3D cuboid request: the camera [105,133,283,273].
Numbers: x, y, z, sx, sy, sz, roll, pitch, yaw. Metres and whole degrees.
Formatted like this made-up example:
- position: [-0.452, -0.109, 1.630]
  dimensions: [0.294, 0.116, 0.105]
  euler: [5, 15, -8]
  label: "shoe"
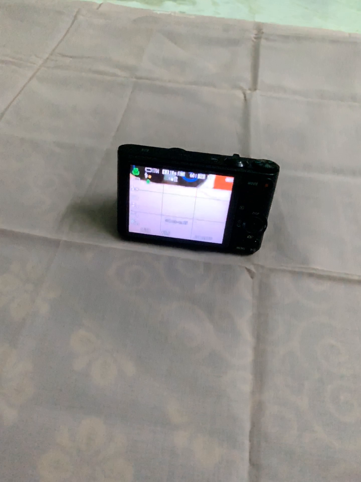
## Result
- position: [0.008, -0.027, 0.250]
  dimensions: [0.100, 0.060, 0.058]
  euler: [7, 38, 2]
  label: "camera"
